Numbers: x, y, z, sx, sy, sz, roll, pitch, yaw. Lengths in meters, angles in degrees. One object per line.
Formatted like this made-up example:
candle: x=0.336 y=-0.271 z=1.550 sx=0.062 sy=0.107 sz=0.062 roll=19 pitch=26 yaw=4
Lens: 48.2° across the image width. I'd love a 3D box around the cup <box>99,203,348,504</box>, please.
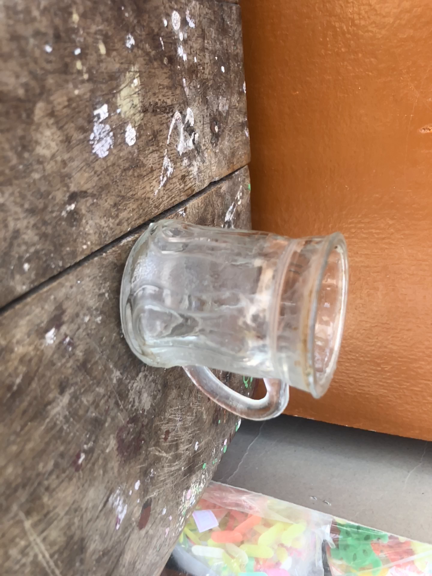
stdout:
cup: x=0.010 y=0.019 z=0.163 sx=0.050 sy=0.060 sz=0.080 roll=-54 pitch=142 yaw=-51
